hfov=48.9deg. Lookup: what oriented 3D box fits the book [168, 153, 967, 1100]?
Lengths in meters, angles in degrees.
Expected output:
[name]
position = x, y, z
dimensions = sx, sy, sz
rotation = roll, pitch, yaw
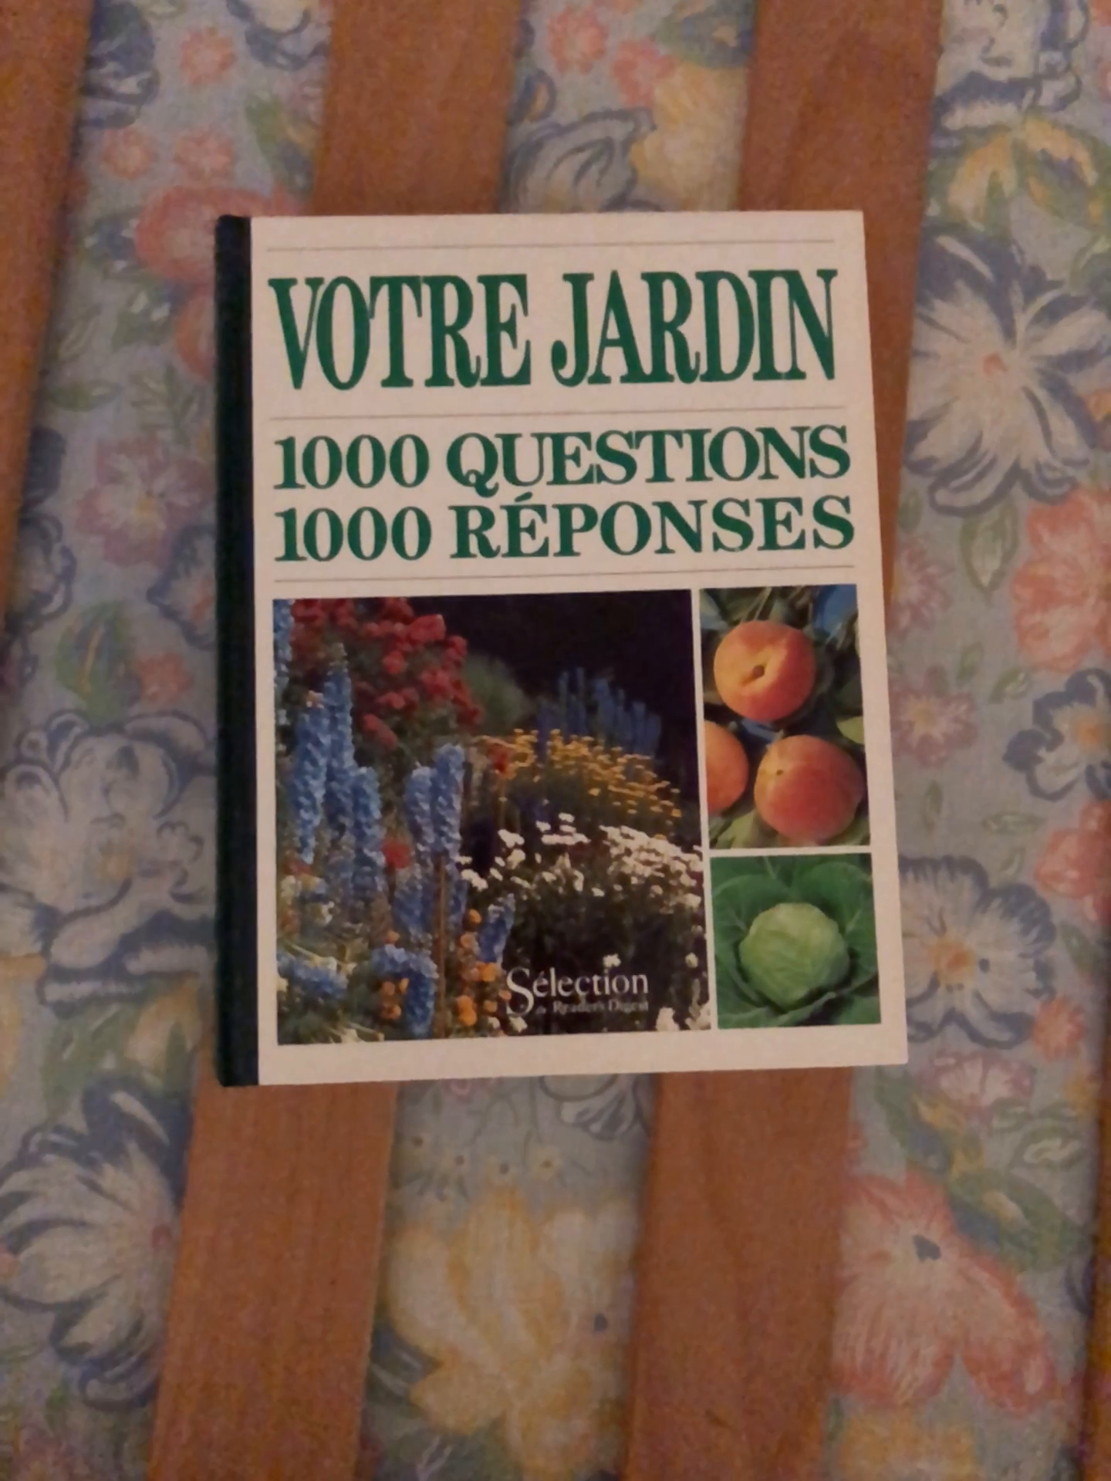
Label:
[book]
position = 0.000, -0.037, 0.382
dimensions = 0.220, 0.050, 0.270
rotation = -3, 85, -2
